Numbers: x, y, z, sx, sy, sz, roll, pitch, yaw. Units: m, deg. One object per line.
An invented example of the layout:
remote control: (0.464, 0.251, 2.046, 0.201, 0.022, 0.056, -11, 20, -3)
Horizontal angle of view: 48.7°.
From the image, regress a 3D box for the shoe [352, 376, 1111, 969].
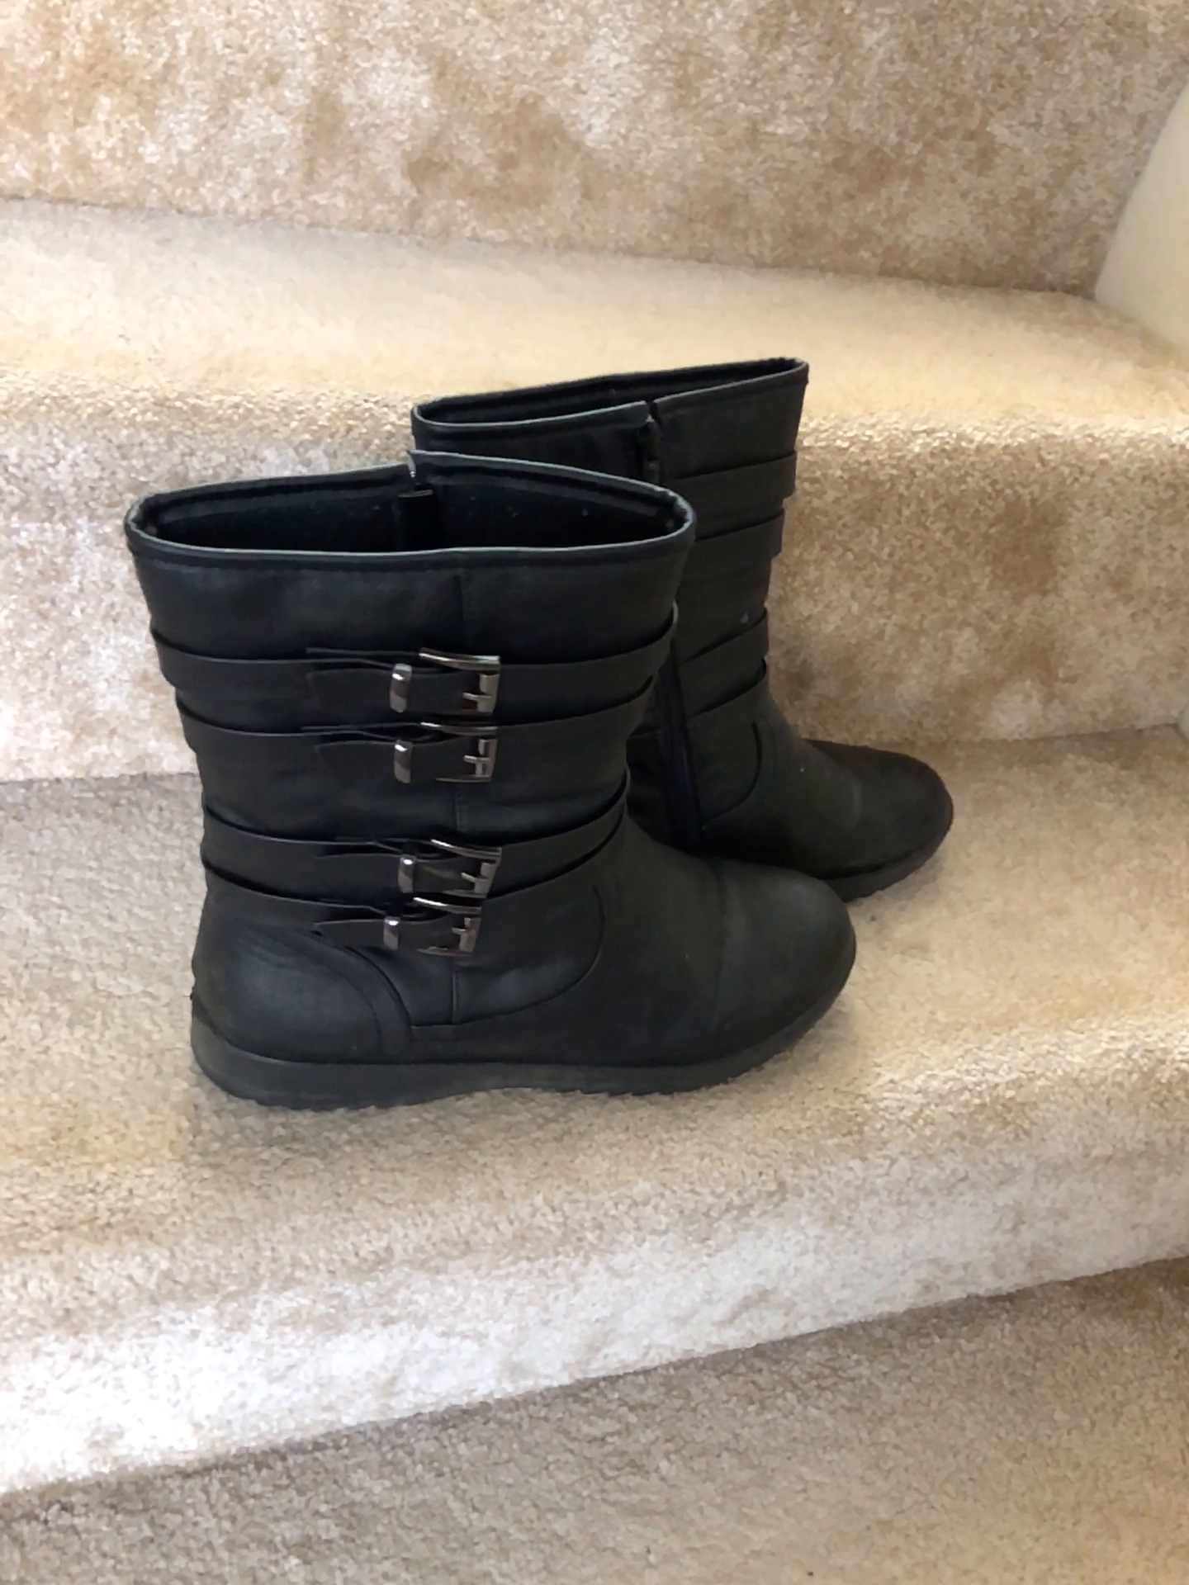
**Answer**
shoe: (0.041, -0.052, 0.561, 0.270, 0.218, 0.101, -4, 38, -13)

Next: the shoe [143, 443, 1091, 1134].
shoe: (-0.008, 0.004, 0.455, 0.270, 0.199, 0.101, 0, 37, -16)
